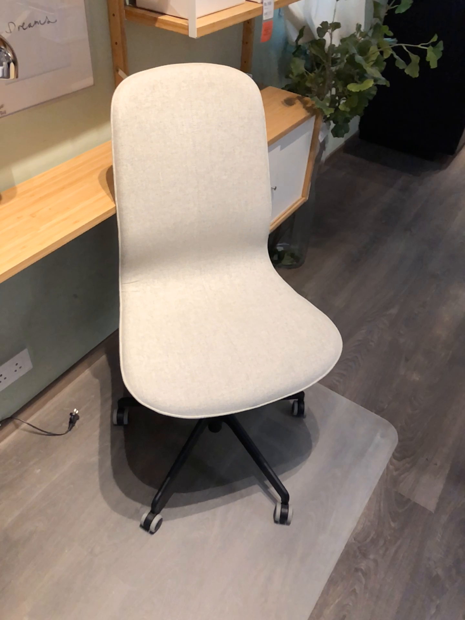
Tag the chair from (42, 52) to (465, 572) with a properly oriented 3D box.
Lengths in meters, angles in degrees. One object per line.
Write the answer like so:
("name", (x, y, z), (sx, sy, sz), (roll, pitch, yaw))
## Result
("chair", (-0.011, 0.001, 1.175), (0.620, 0.904, 0.654), (-10, 44, -15))
